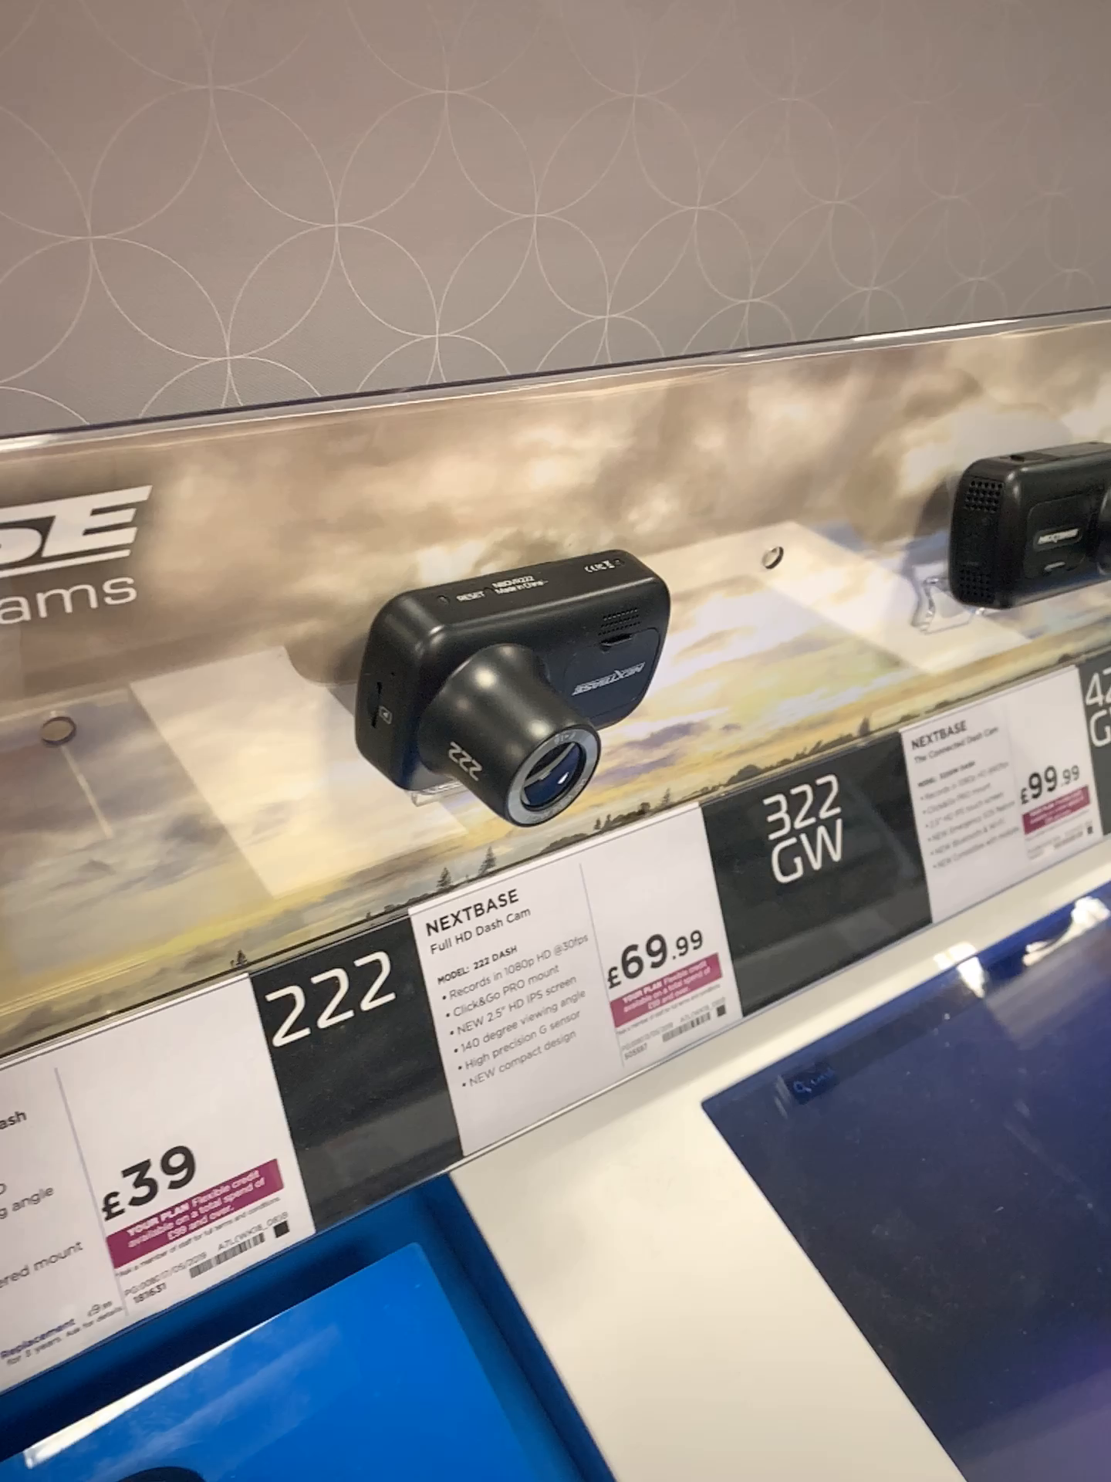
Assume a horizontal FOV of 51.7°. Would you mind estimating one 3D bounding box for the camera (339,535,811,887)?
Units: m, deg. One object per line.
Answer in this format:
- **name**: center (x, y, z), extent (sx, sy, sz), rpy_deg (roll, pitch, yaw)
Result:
- **camera**: center (0.004, -0.011, 0.262), extent (0.090, 0.040, 0.050), rpy_deg (-16, 44, -32)
